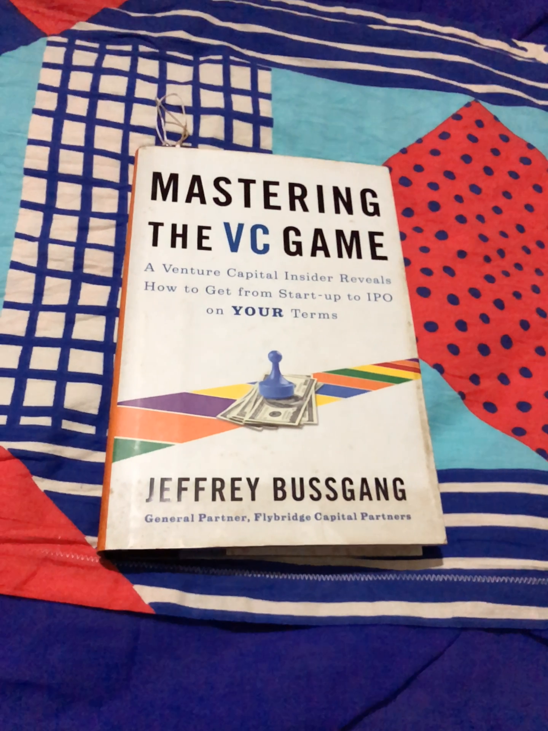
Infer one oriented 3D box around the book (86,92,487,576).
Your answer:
[{"bbox_3d":[0.001,-0.031,0.355,0.180,0.050,0.280,2,64,-8],"label":"book"}]
